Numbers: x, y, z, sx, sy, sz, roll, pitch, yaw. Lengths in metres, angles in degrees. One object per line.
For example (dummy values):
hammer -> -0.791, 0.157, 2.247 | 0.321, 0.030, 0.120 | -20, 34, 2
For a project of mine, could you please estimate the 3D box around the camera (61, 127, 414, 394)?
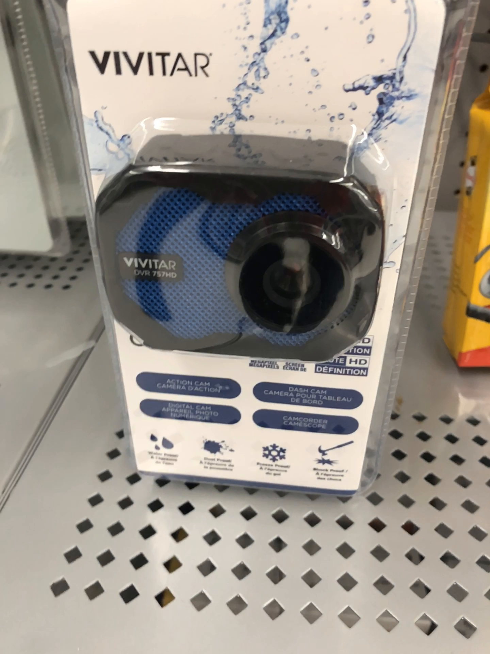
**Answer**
camera -> 0.000, -0.018, 0.139 | 0.070, 0.050, 0.040 | 4, 35, 7
